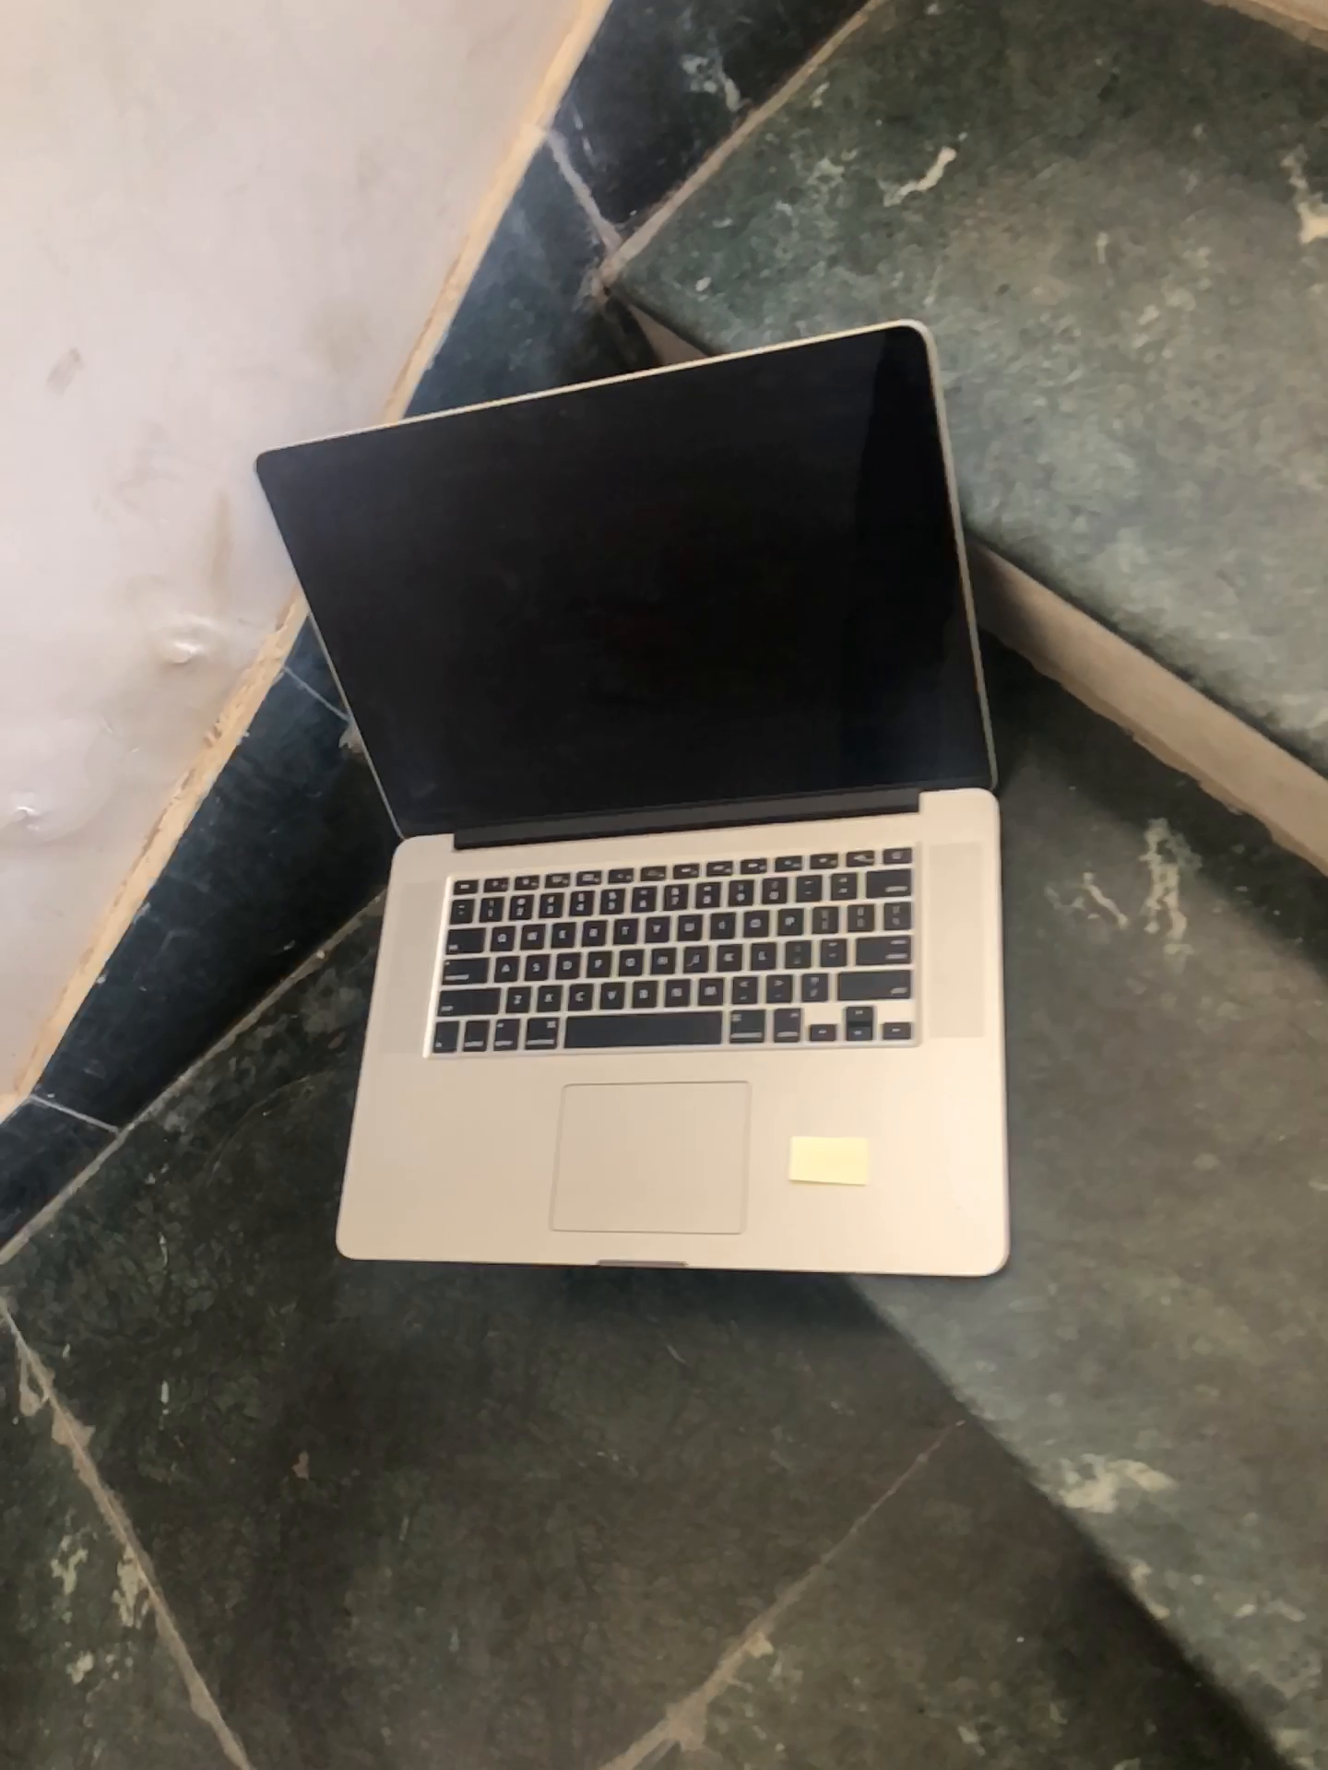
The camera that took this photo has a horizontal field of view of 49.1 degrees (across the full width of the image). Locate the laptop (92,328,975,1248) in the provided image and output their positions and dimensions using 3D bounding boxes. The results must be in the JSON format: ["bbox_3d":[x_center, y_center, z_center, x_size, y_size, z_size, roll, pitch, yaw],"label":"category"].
[{"bbox_3d":[-0.036,-0.027,0.708,0.341,0.194,0.364,-4,66,21],"label":"laptop"}]
